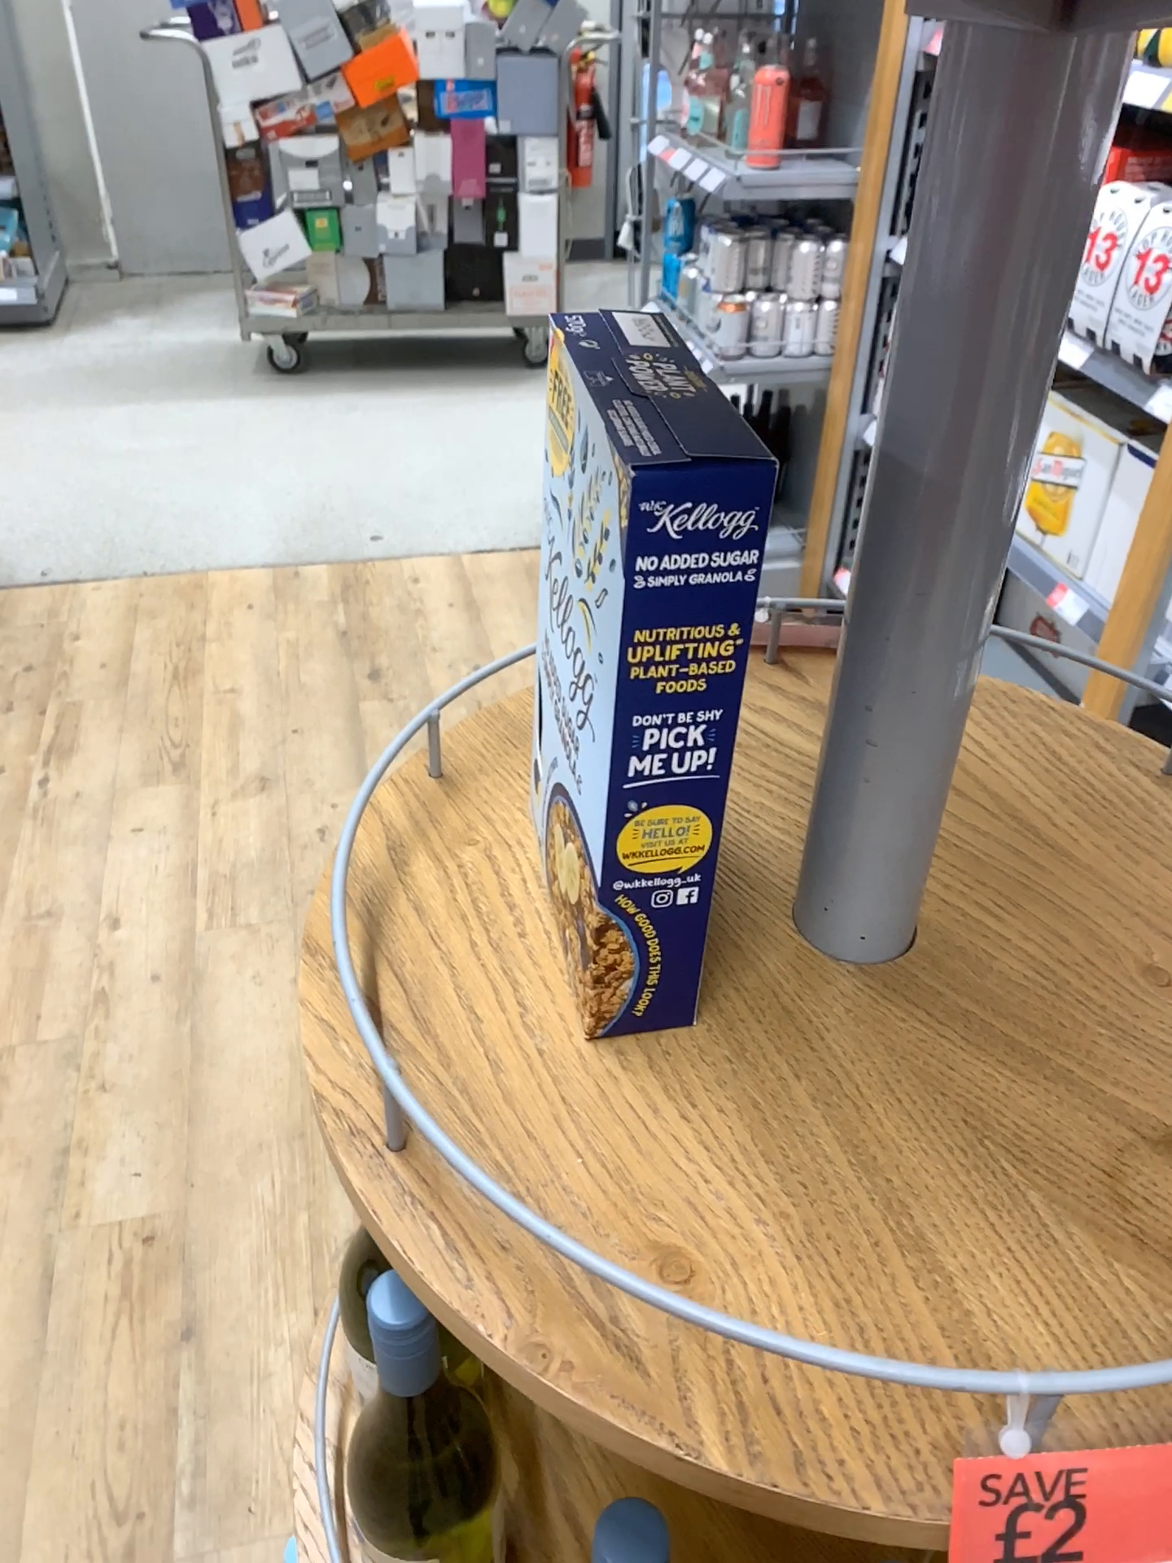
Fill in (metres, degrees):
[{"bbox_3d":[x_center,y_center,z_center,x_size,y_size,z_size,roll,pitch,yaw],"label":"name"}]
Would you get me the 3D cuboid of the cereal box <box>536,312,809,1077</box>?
[{"bbox_3d":[0.019,-0.034,0.477,0.050,0.247,0.172,-3,36,-9],"label":"cereal box"}]
